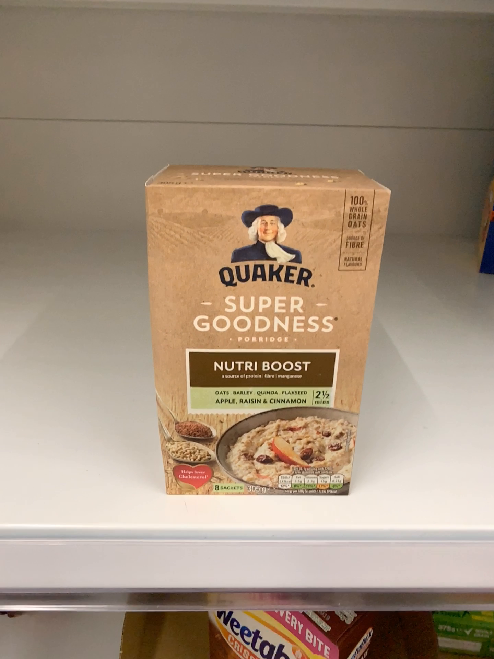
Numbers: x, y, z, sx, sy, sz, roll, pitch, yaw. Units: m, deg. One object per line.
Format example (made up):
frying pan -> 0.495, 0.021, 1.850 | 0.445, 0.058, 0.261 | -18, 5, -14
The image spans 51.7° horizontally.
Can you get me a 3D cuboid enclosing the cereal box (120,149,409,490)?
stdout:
cereal box -> 0.006, -0.003, 0.319 | 0.140, 0.198, 0.071 | 1, 24, -1
